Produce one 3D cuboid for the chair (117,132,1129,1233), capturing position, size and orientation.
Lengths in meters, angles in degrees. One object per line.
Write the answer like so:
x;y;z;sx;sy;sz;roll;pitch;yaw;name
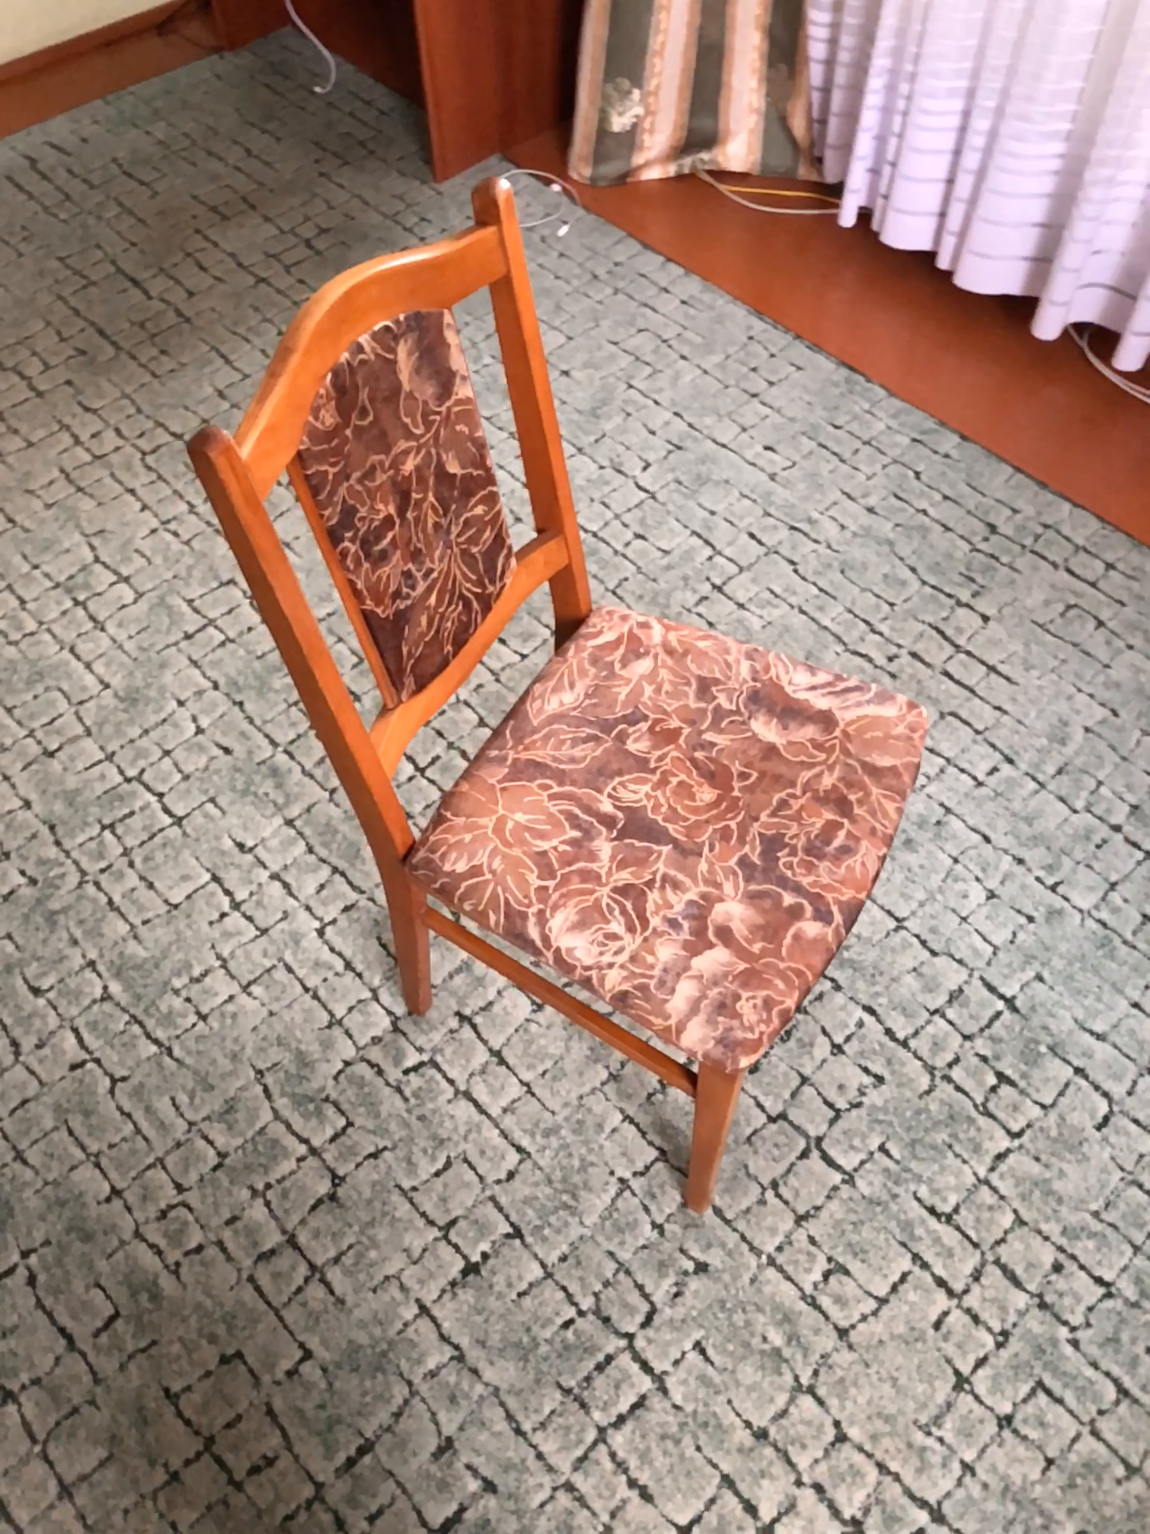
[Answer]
0.053;-0.017;1.259;0.551;0.874;0.482;27;60;19;chair
